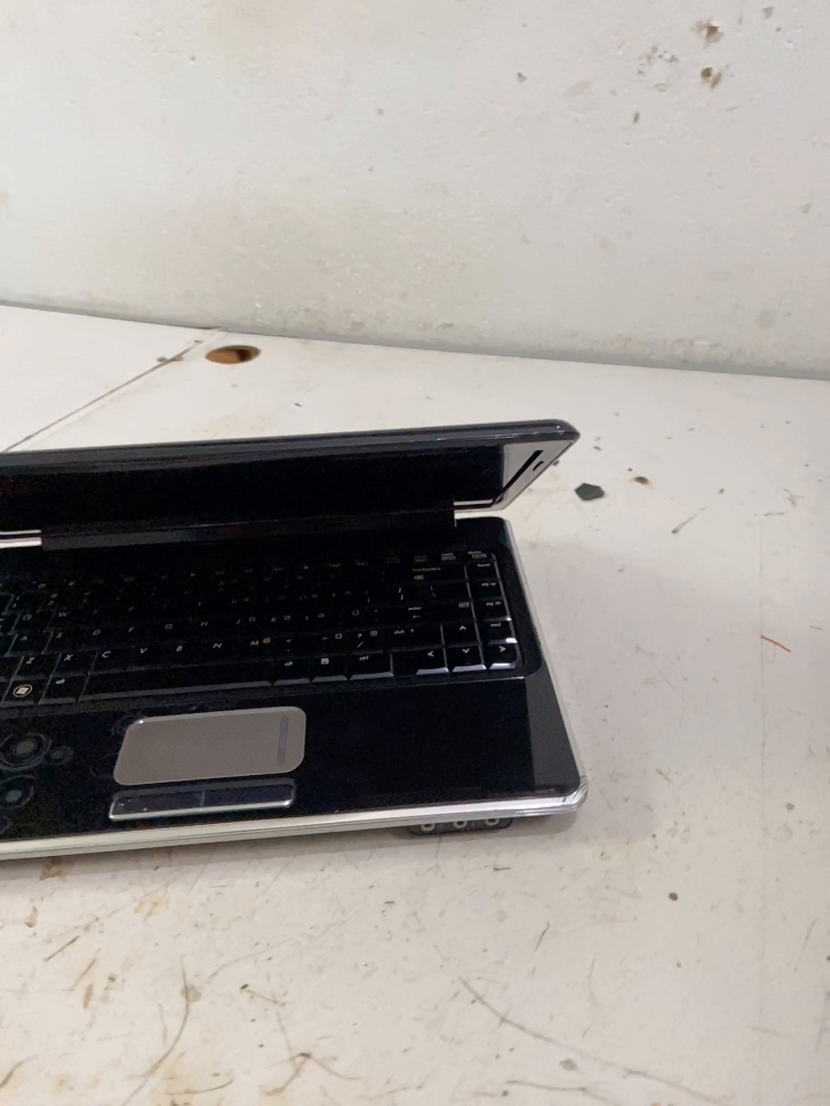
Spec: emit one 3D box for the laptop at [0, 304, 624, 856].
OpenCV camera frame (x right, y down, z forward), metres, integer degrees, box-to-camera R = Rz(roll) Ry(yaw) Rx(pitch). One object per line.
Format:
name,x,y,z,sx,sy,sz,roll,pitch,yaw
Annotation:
laptop,-0.098,-0.008,0.418,0.327,0.137,0.232,-4,34,-2
